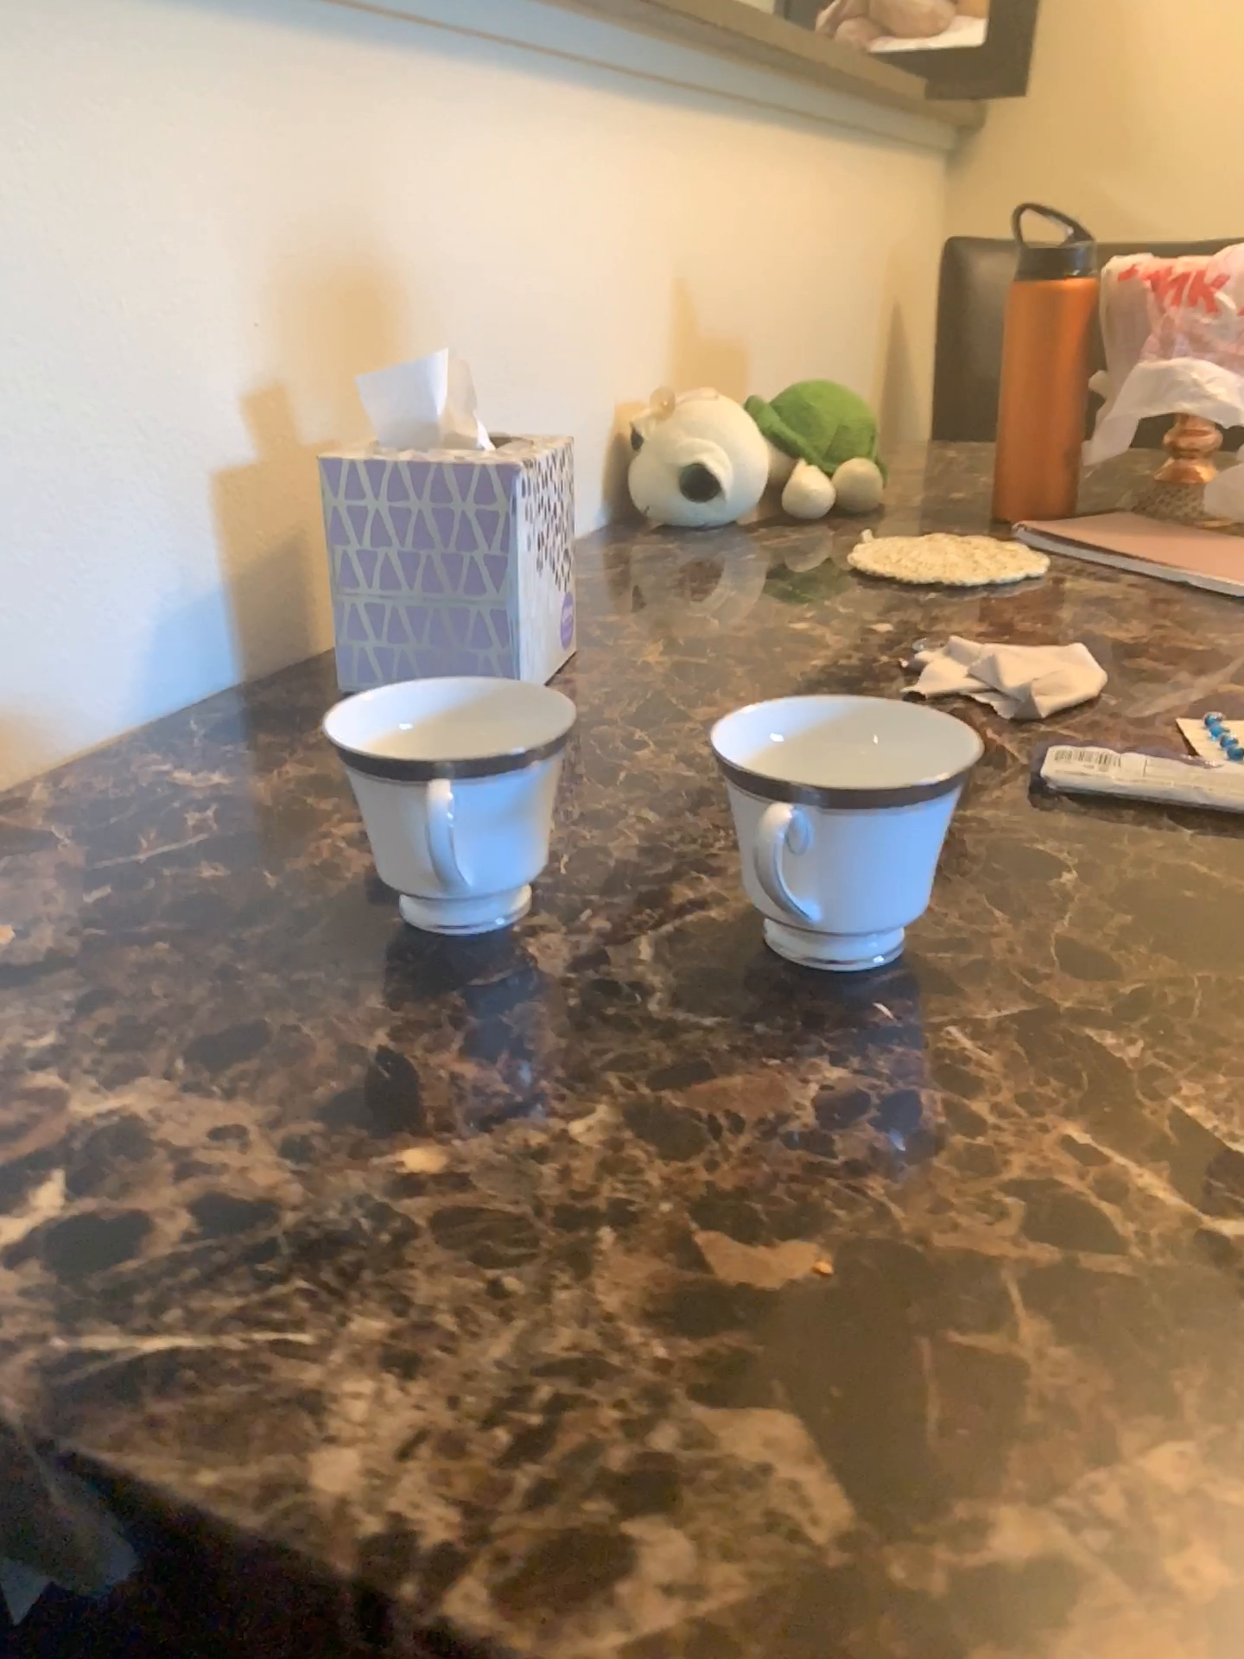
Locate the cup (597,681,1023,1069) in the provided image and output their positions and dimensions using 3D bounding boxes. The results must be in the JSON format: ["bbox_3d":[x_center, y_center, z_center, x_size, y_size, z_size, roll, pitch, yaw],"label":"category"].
[{"bbox_3d":[0.065,0.007,0.426,0.090,0.070,0.120,16,29,33],"label":"cup"}]

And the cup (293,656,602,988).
[{"bbox_3d":[-0.061,-0.008,0.443,0.090,0.070,0.111,-5,24,-8],"label":"cup"}]
